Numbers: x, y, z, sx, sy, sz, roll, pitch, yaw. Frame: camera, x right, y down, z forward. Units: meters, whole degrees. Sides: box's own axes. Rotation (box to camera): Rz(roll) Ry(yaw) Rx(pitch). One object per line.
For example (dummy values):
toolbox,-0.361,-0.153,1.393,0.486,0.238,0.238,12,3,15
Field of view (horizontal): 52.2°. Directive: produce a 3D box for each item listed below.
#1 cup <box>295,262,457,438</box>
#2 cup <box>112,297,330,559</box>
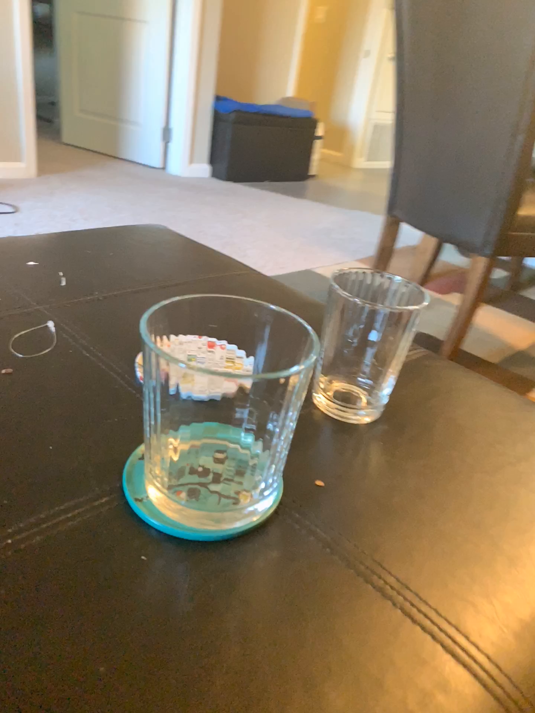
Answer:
cup,0.065,-0.007,0.359,0.060,0.089,0.070,-2,29,-20
cup,-0.030,0.029,0.266,0.080,0.089,0.080,7,27,-4
